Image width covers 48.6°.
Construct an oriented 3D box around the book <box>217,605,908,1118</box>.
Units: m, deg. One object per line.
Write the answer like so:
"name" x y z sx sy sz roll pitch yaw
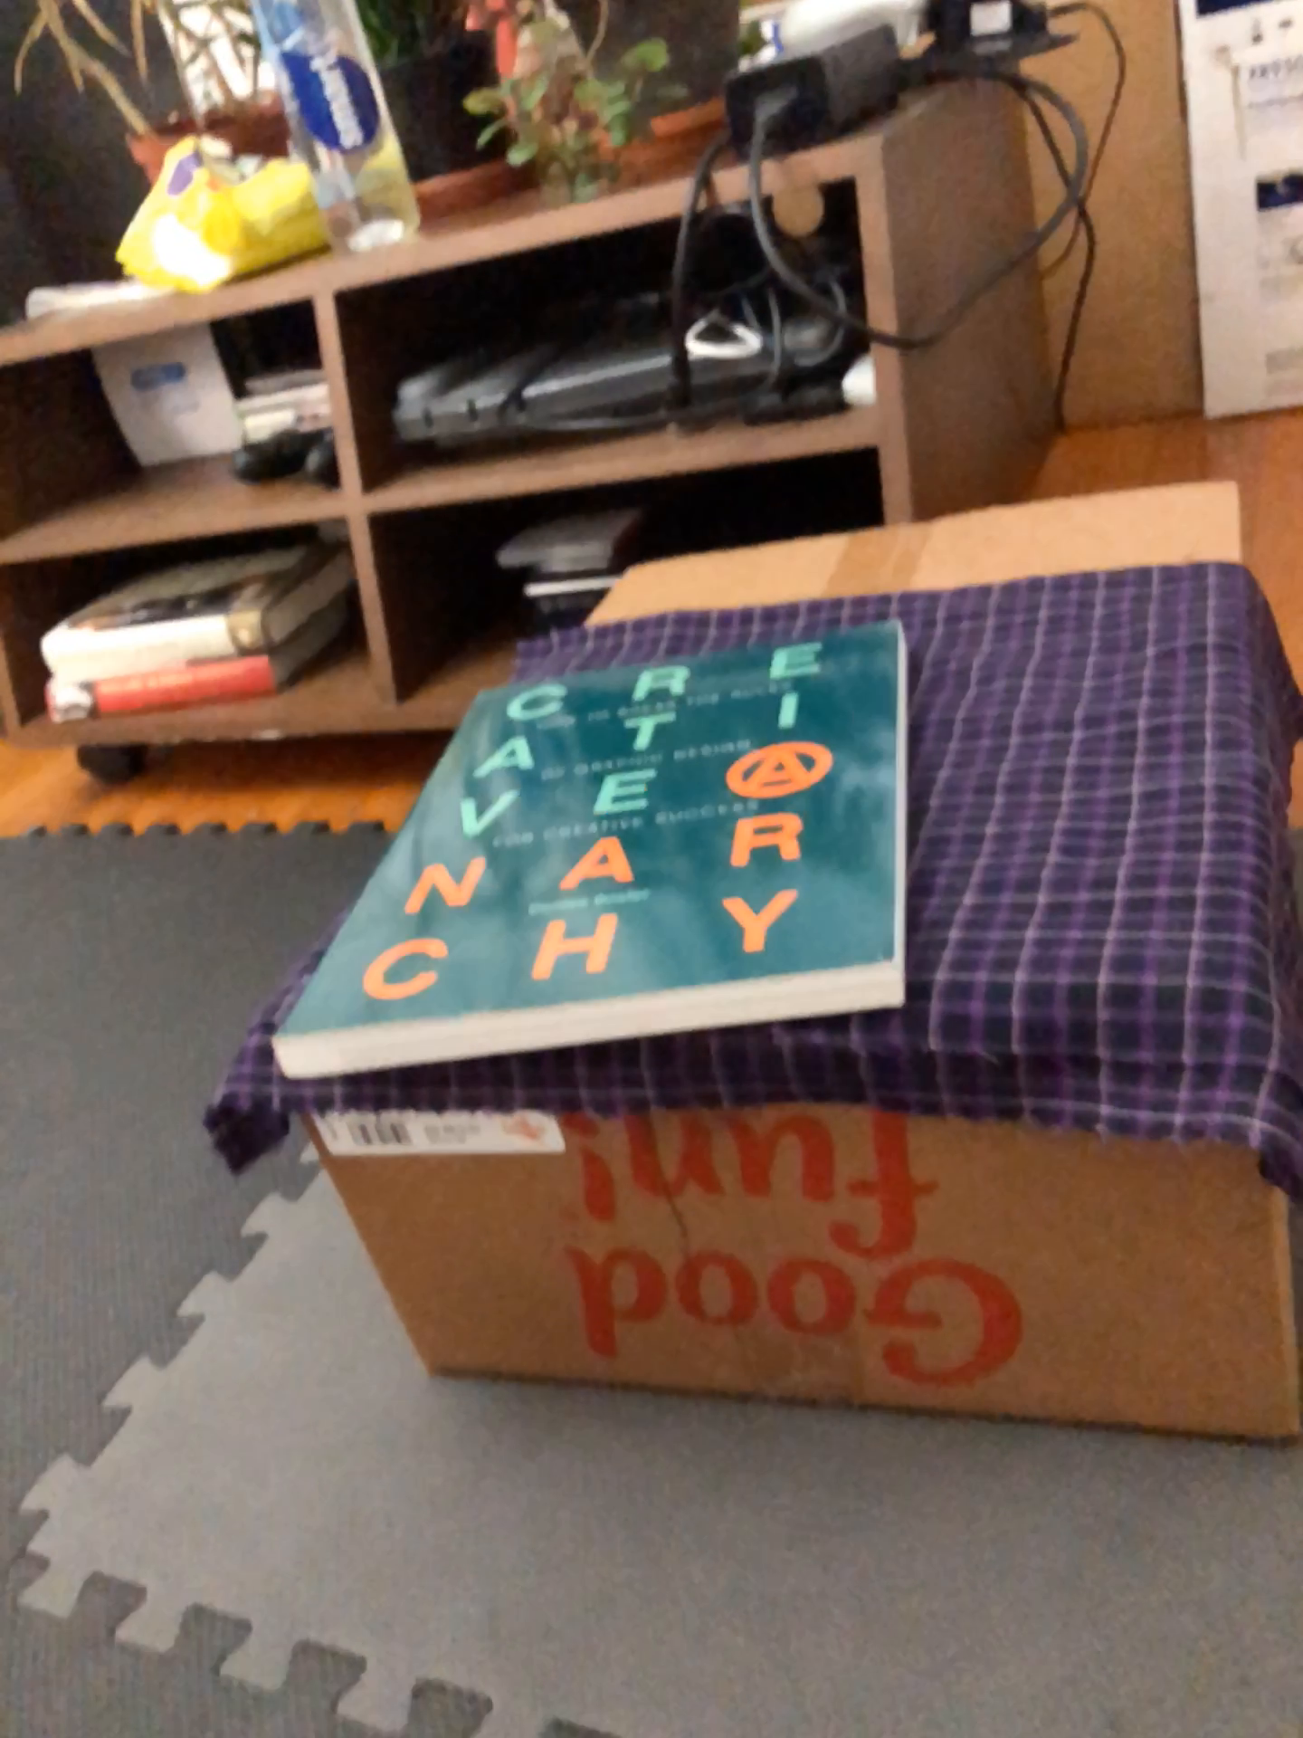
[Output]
"book" -0.012 -0.020 0.572 0.220 0.020 0.302 -8 30 14
